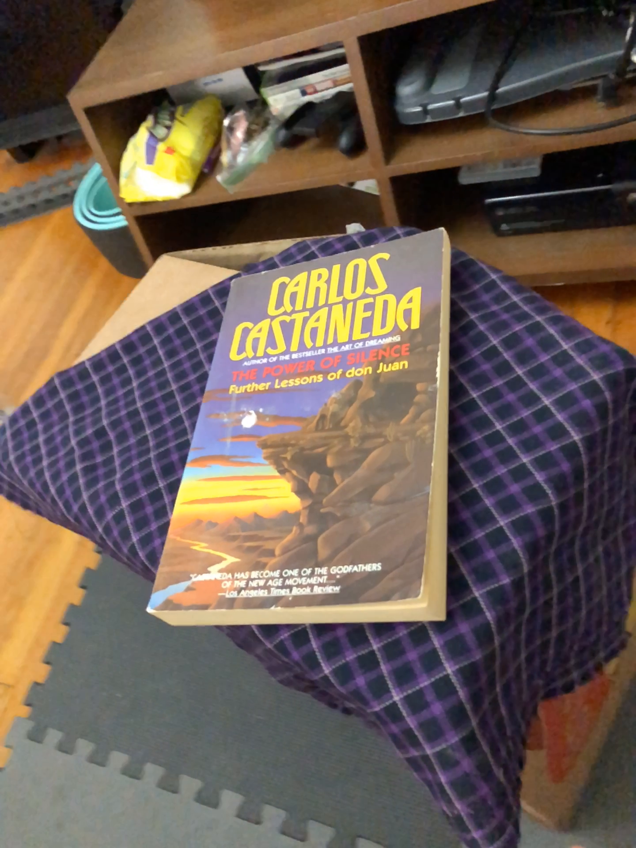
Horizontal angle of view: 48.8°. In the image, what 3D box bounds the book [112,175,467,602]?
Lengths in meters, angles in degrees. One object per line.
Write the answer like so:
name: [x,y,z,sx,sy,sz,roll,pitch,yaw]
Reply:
book: [-0.006,-0.023,0.347,0.150,0.020,0.221,-7,55,24]
